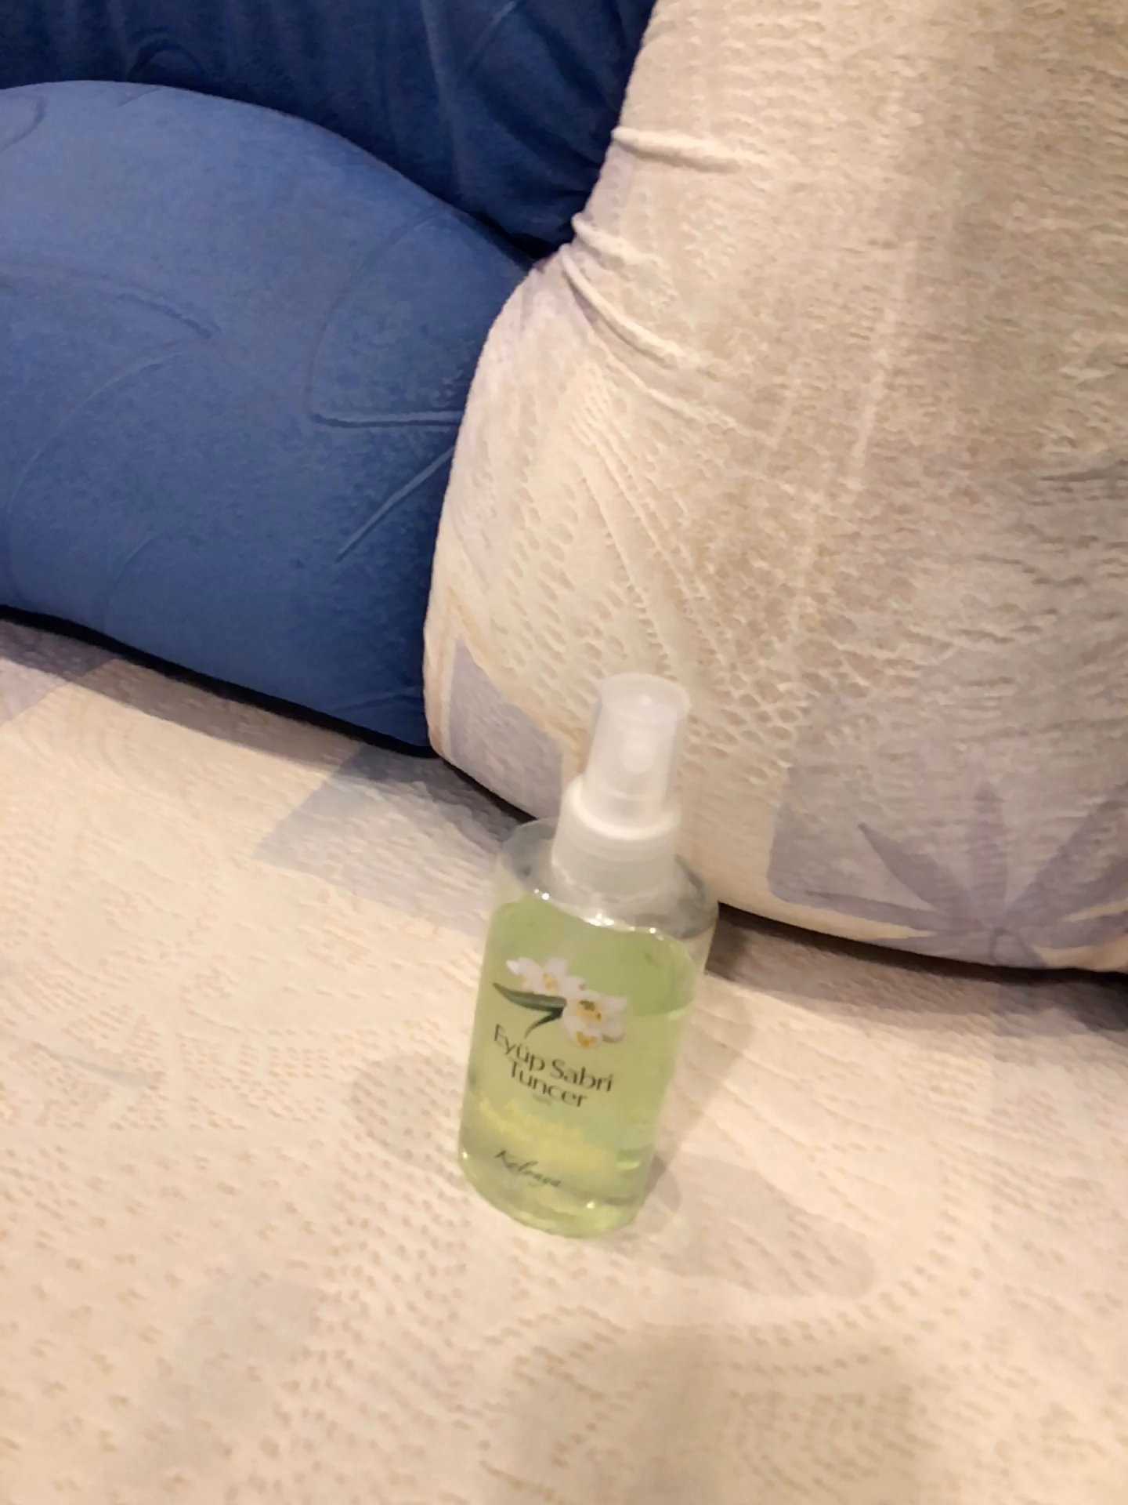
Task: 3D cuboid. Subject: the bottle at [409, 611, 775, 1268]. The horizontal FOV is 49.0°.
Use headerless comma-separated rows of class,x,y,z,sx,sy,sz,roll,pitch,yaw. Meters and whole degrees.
bottle,0.002,0.048,0.291,0.058,0.149,0.037,18,33,15
